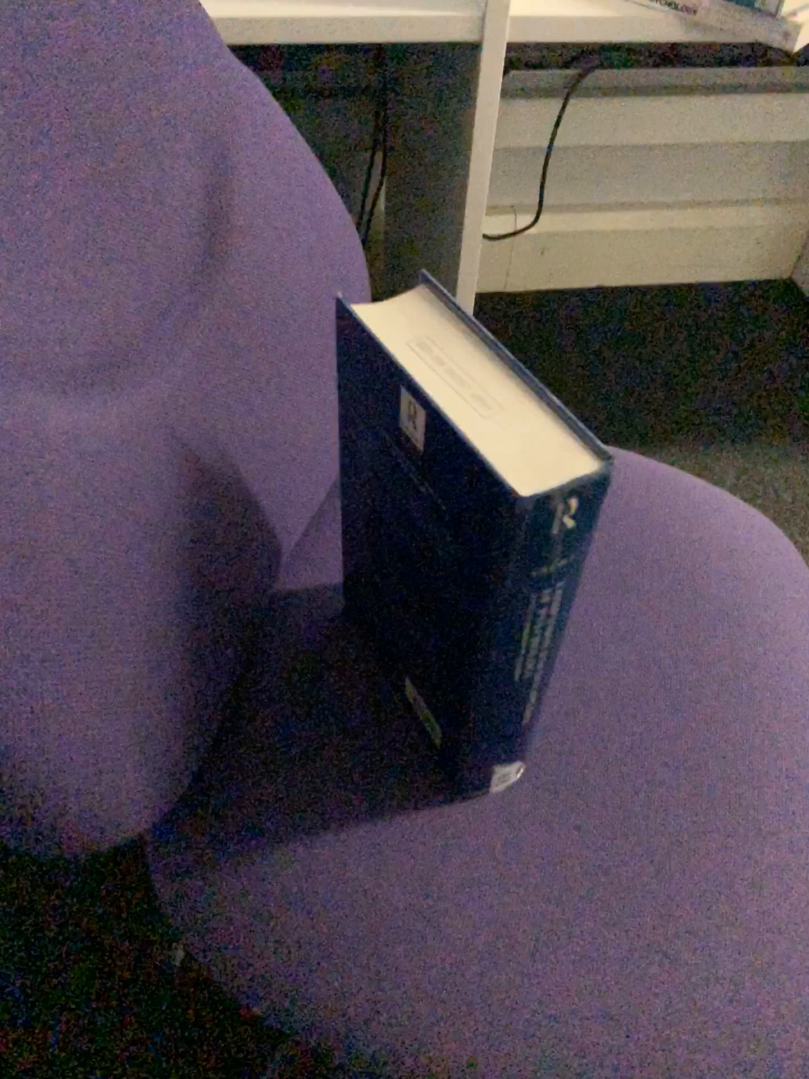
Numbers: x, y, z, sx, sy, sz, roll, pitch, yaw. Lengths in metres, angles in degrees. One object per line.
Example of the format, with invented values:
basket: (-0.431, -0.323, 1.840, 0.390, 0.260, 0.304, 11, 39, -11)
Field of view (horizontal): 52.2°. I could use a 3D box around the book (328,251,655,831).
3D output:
book: (0.020, 0.013, 0.451, 0.052, 0.263, 0.183, -18, 52, -21)
